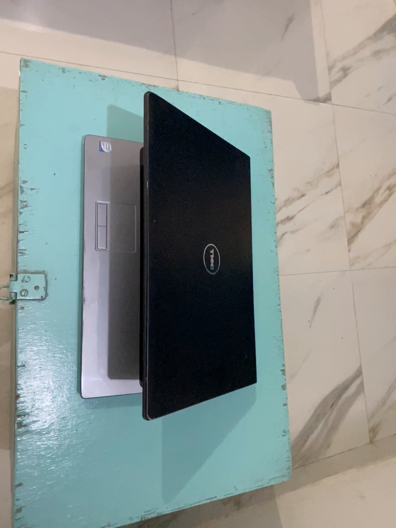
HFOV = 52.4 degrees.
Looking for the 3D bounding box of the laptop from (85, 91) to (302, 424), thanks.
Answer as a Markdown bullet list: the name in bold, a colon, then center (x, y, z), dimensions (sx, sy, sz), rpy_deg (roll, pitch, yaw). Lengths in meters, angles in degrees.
- **laptop**: center (-0.016, -0.005, 0.584), dimensions (0.261, 0.152, 0.387), rpy_deg (1, 83, -24)
